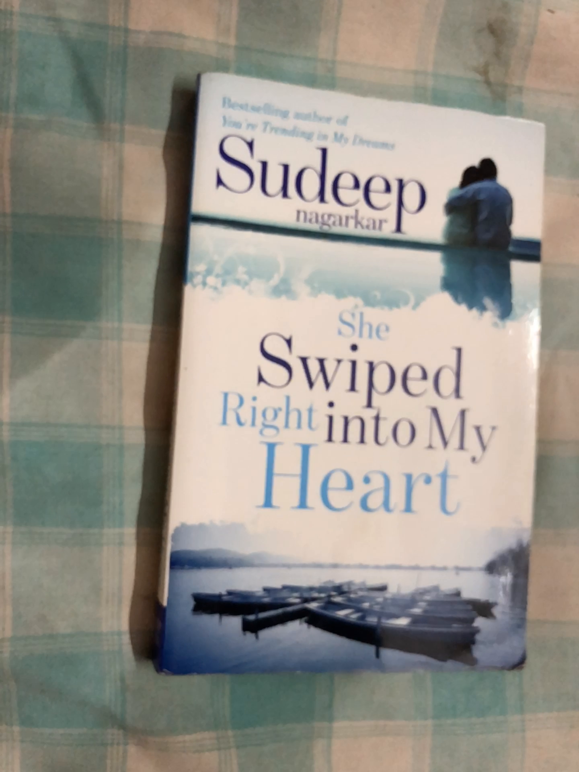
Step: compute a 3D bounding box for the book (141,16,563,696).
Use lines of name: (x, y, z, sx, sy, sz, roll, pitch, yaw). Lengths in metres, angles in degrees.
book: (0.023, -0.007, 0.229, 0.130, 0.030, 0.210, 4, 88, -10)
